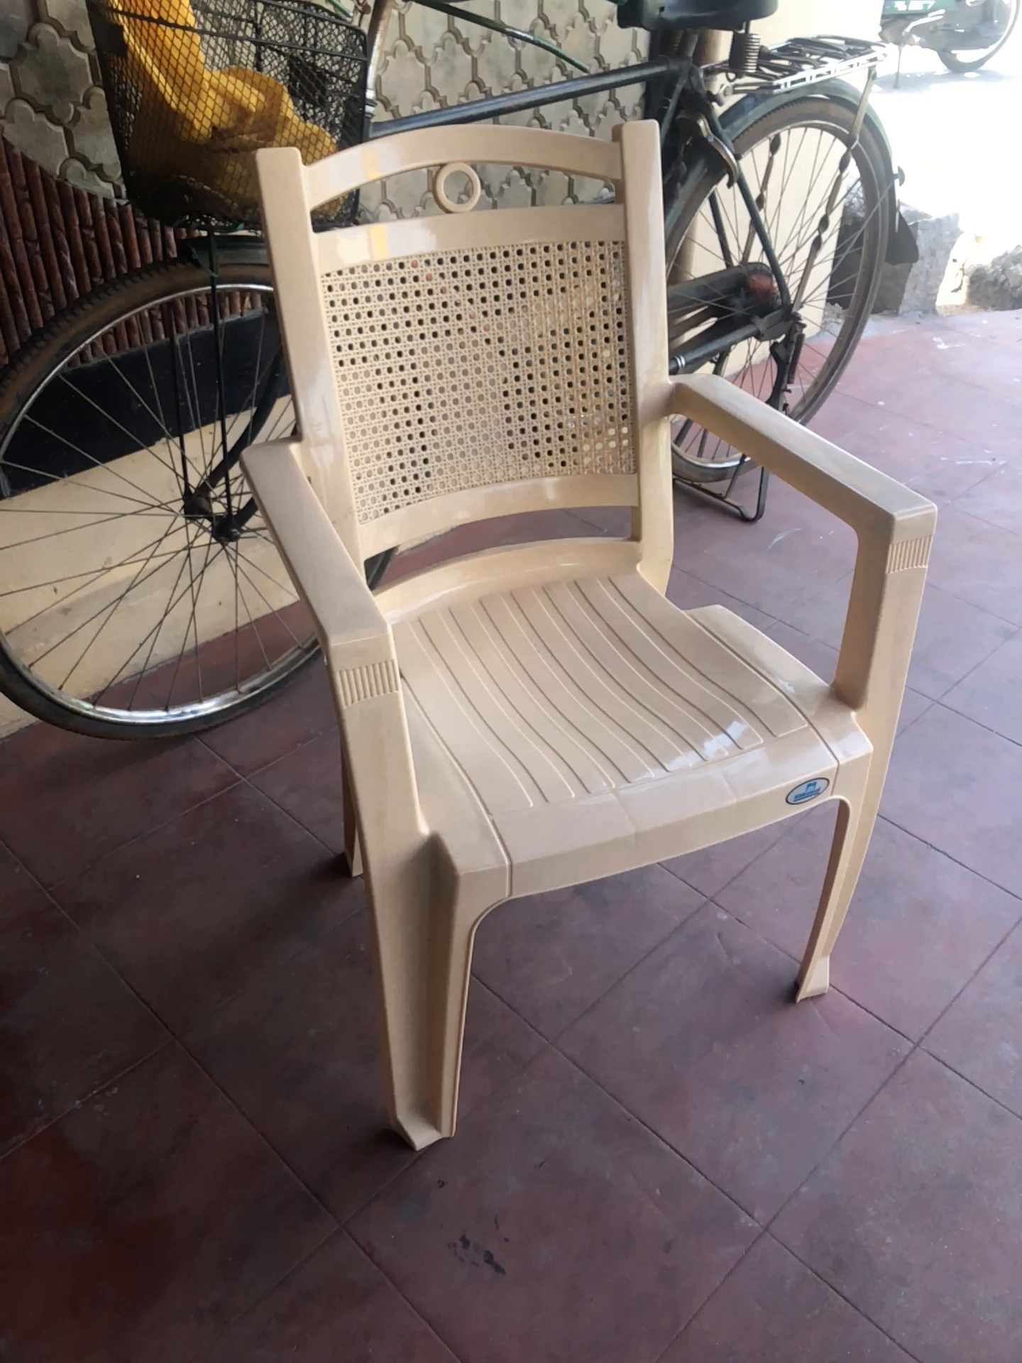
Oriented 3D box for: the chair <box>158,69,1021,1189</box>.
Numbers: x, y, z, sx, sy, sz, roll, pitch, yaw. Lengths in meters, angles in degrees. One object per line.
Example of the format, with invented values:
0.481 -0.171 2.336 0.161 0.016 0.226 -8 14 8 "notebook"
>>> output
0.073 -0.067 1.102 0.591 0.826 0.552 -14 41 -18 "chair"
